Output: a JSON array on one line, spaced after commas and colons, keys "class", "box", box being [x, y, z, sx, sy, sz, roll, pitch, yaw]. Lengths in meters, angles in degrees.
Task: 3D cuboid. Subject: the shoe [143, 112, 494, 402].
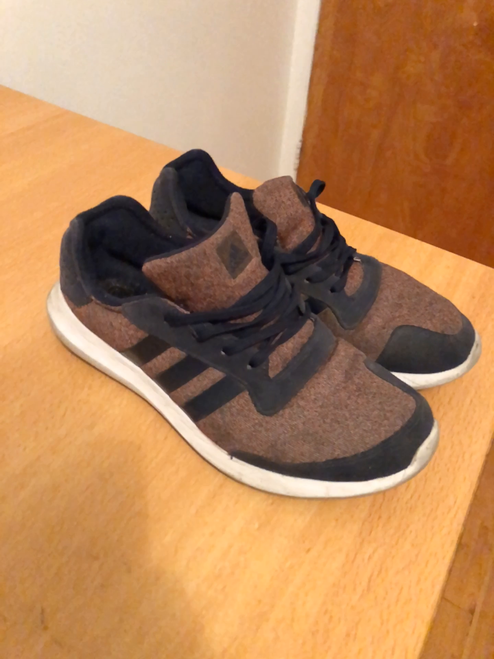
[{"class": "shoe", "box": [0.063, -0.067, 0.411, 0.260, 0.099, 0.111, 23, 44, 19]}]

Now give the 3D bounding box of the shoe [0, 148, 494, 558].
[{"class": "shoe", "box": [-0.016, -0.008, 0.353, 0.311, 0.099, 0.131, 23, 44, 19]}]
